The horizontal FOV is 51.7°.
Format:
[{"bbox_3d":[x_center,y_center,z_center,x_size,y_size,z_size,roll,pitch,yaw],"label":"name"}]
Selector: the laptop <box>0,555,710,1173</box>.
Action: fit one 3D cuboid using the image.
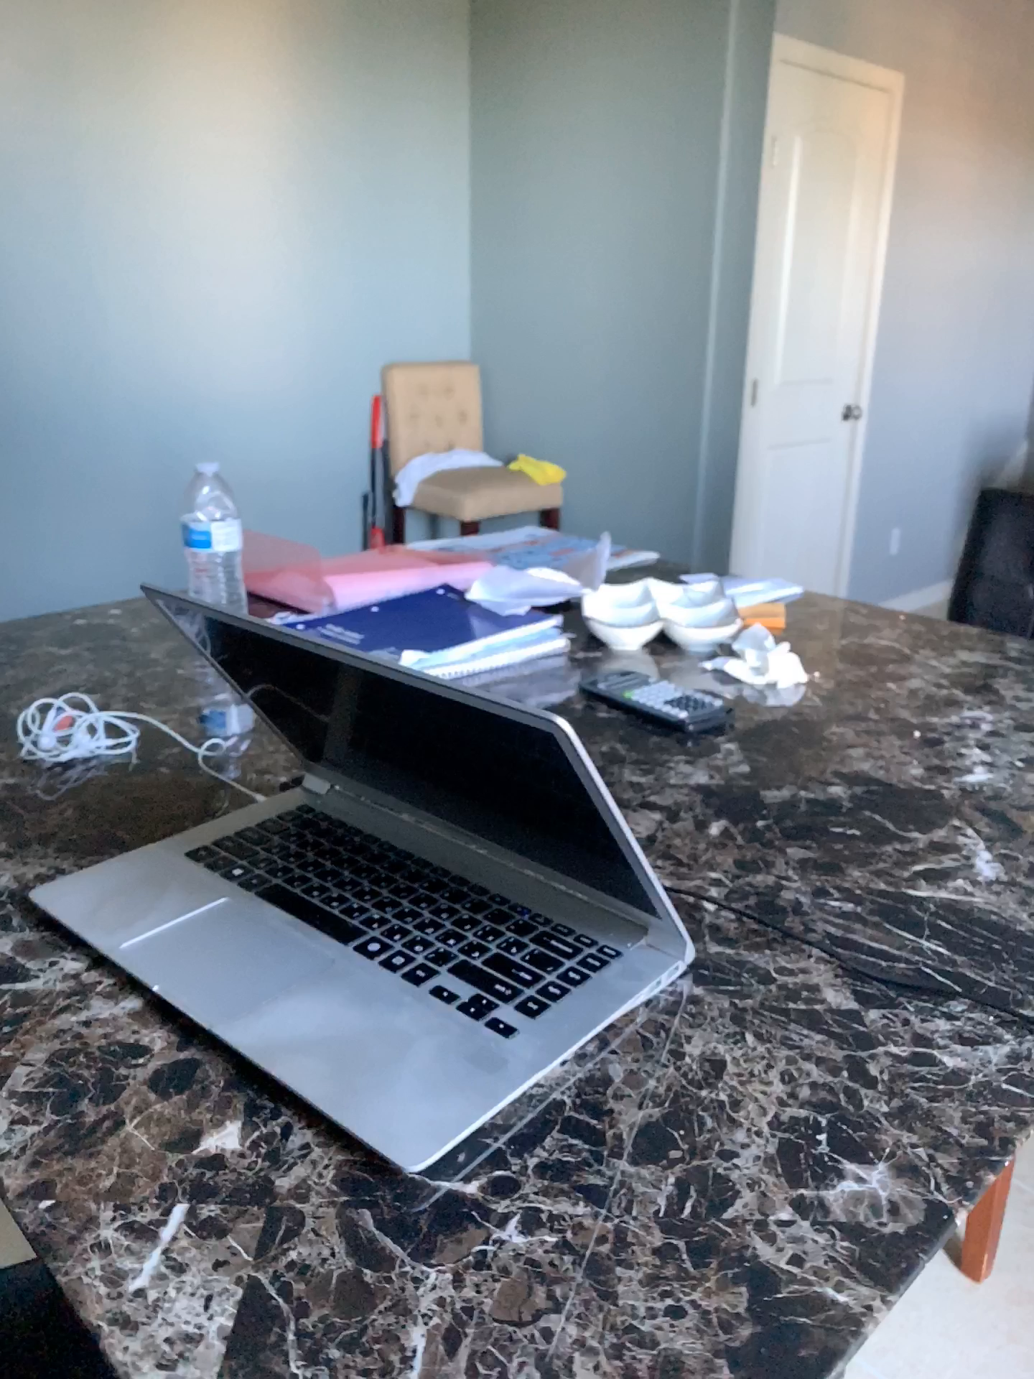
[{"bbox_3d":[-0.108,0.057,0.644,0.362,0.188,0.234,17,25,38],"label":"laptop"}]
